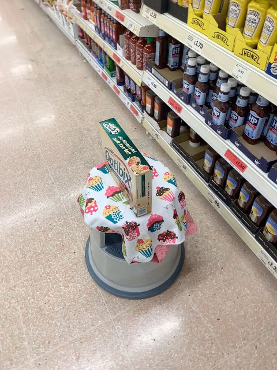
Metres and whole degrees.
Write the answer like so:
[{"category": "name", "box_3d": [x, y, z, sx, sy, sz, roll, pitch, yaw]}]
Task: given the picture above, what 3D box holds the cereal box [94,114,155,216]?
[{"category": "cereal box", "box_3d": [-0.047, -0.067, 0.874, 0.060, 0.168, 0.282, -21, 51, -17]}]
